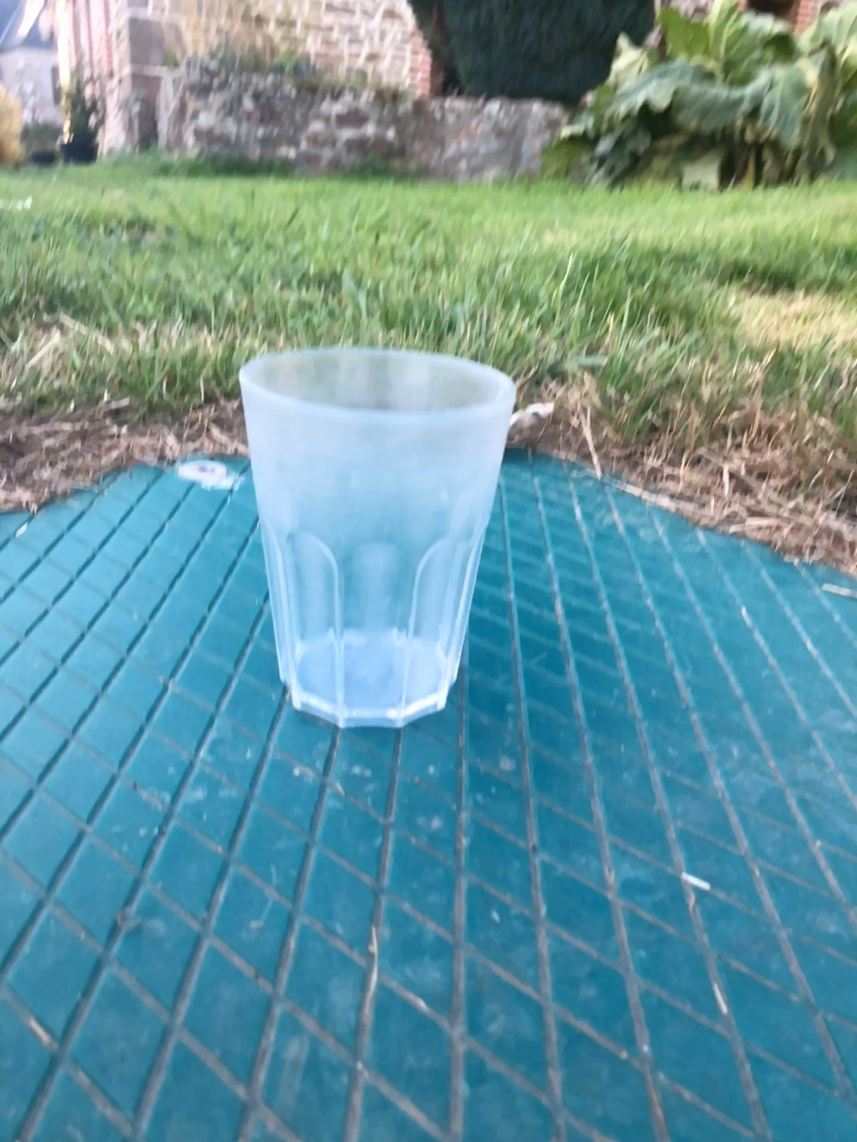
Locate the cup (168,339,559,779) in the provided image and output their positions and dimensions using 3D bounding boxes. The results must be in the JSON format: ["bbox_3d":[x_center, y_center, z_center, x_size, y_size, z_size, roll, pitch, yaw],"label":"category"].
[{"bbox_3d":[-0.025,-0.013,0.325,0.092,0.113,0.087,4,23,-2],"label":"cup"}]
